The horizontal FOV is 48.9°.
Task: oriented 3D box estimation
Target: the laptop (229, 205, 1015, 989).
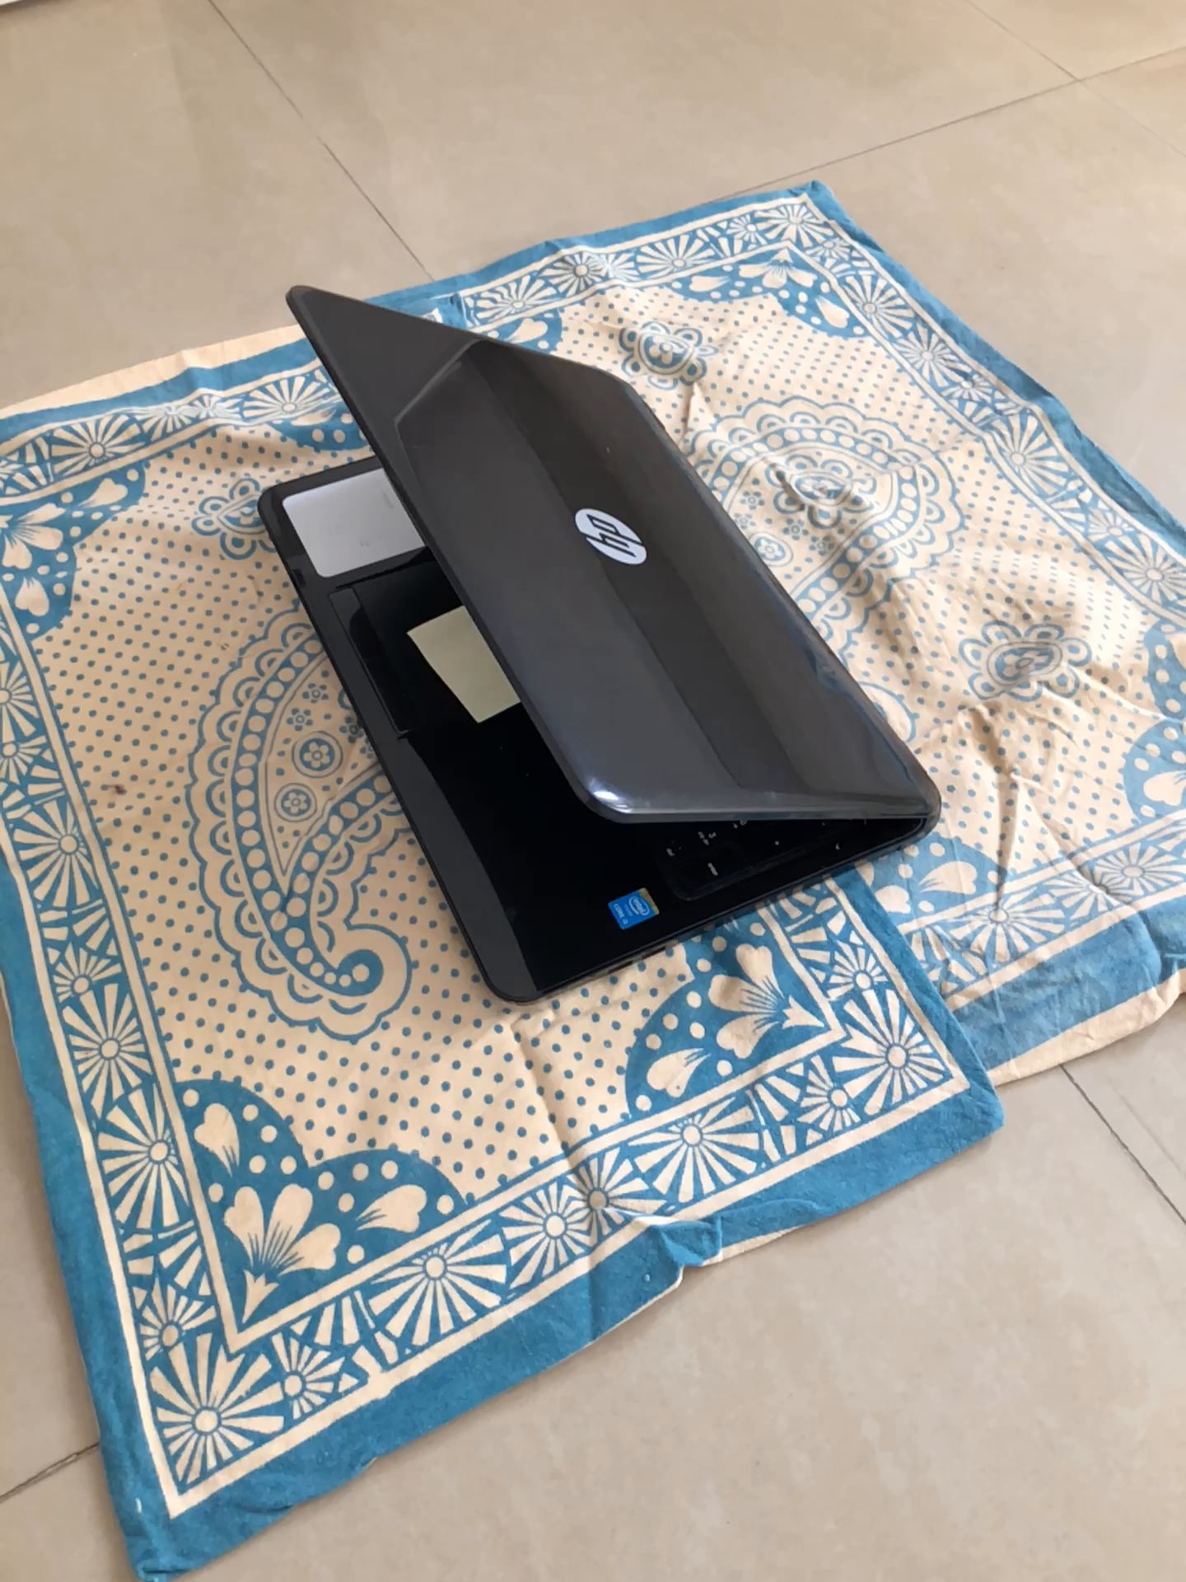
[{"bbox_3d":[-0.006,-0.122,0.671,0.237,0.151,0.364,-19,56,-17],"label":"laptop"}]
